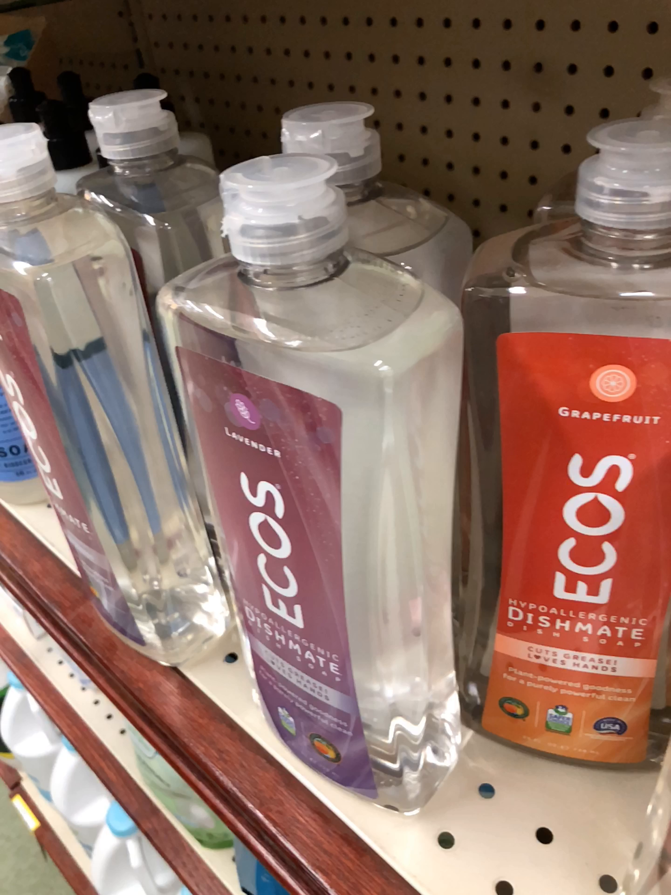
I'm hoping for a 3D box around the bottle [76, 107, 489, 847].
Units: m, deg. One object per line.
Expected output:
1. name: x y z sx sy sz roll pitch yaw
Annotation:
1. bottle: -0.002 0.026 0.249 0.090 0.243 0.048 24 47 35
